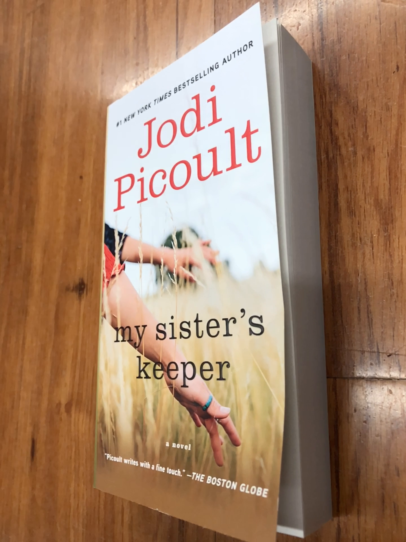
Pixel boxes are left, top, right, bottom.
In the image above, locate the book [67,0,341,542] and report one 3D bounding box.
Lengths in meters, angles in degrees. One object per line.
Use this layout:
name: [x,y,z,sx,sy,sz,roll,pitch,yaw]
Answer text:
book: [-0.007,0.002,0.197,0.110,0.040,0.190,-9,76,41]
